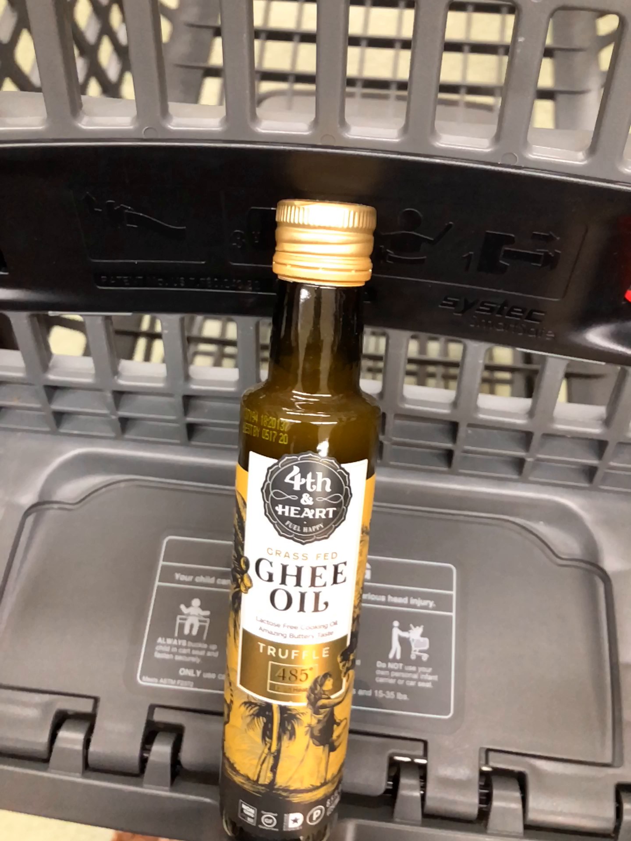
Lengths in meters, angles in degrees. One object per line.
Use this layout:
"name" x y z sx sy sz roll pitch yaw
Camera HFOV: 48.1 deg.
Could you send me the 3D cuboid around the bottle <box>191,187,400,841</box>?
"bottle" -0.010 0.050 0.253 0.054 0.050 0.250 5 107 4
